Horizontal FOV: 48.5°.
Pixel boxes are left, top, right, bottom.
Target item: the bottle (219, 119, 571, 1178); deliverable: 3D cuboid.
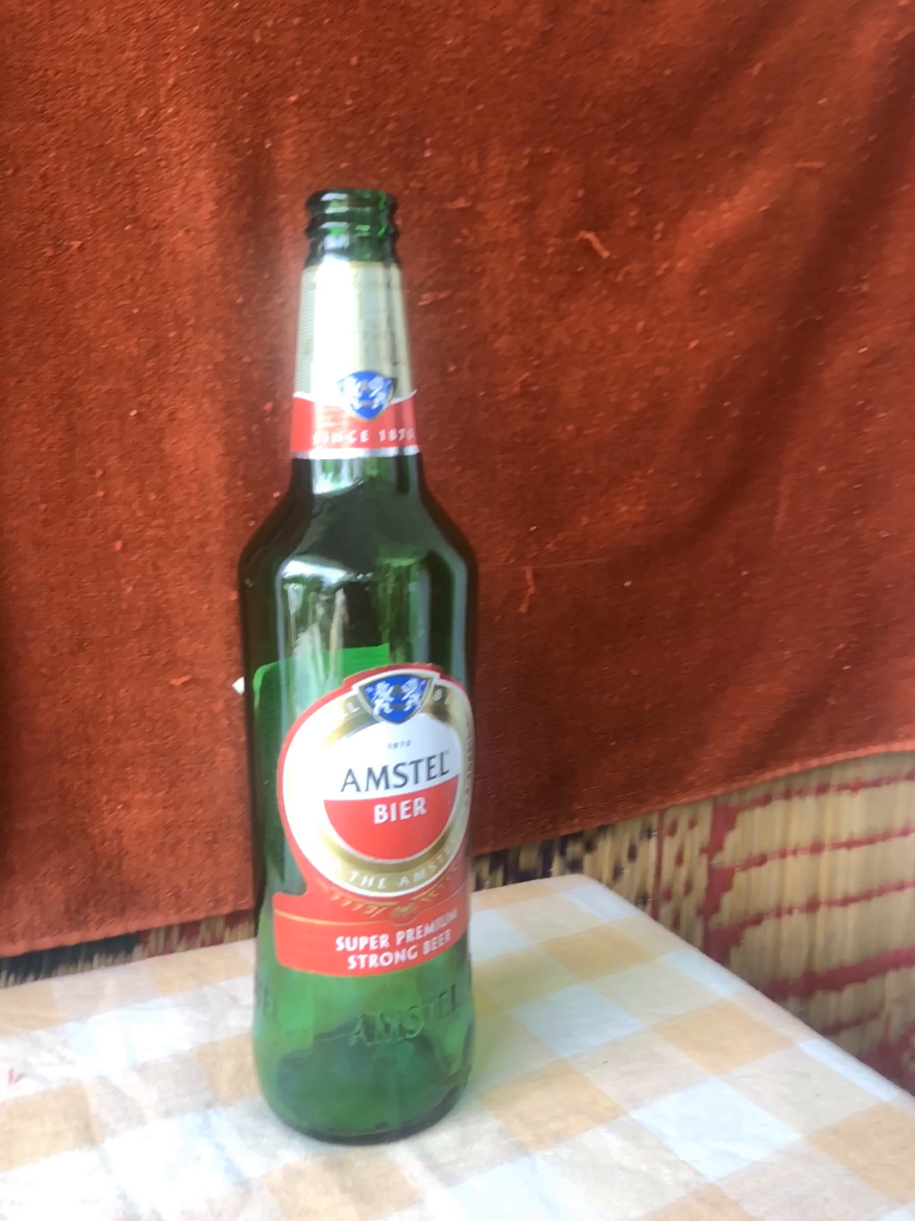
[{"bbox_3d":[-0.026,0.013,0.302,0.080,0.269,0.080,2,10,0],"label":"bottle"}]
